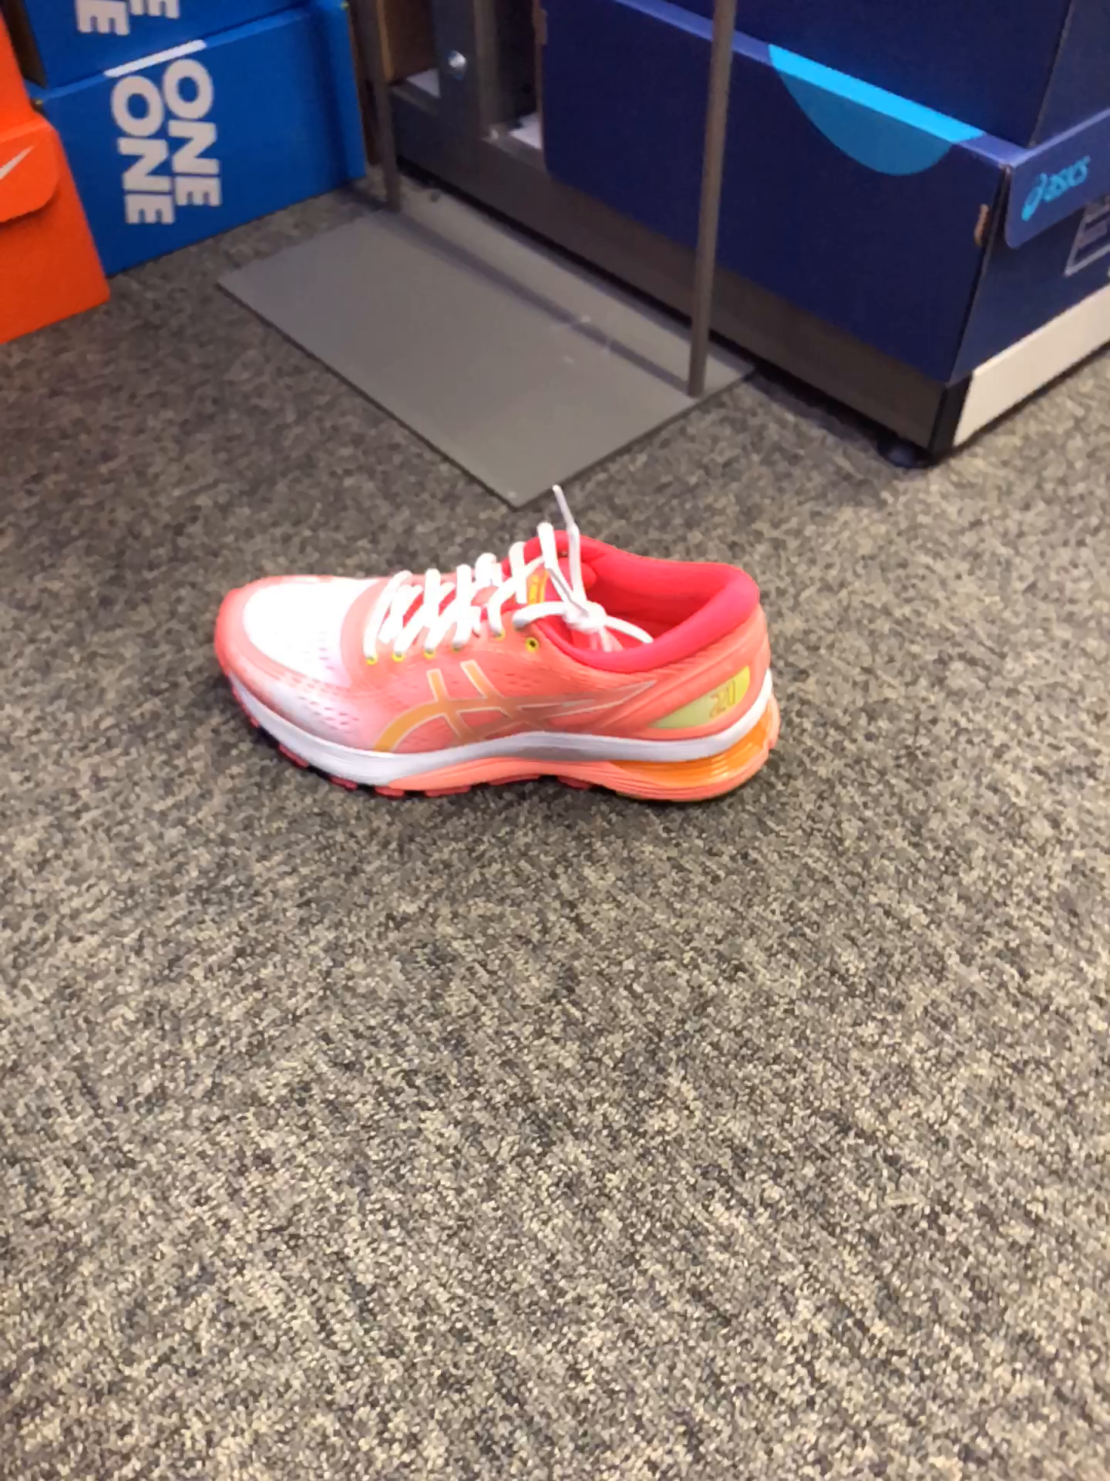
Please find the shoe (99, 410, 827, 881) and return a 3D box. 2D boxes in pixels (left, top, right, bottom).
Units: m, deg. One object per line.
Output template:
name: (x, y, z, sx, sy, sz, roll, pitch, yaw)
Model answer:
shoe: (-0.031, -0.042, 0.533, 0.268, 0.129, 0.108, 9, 51, 8)
